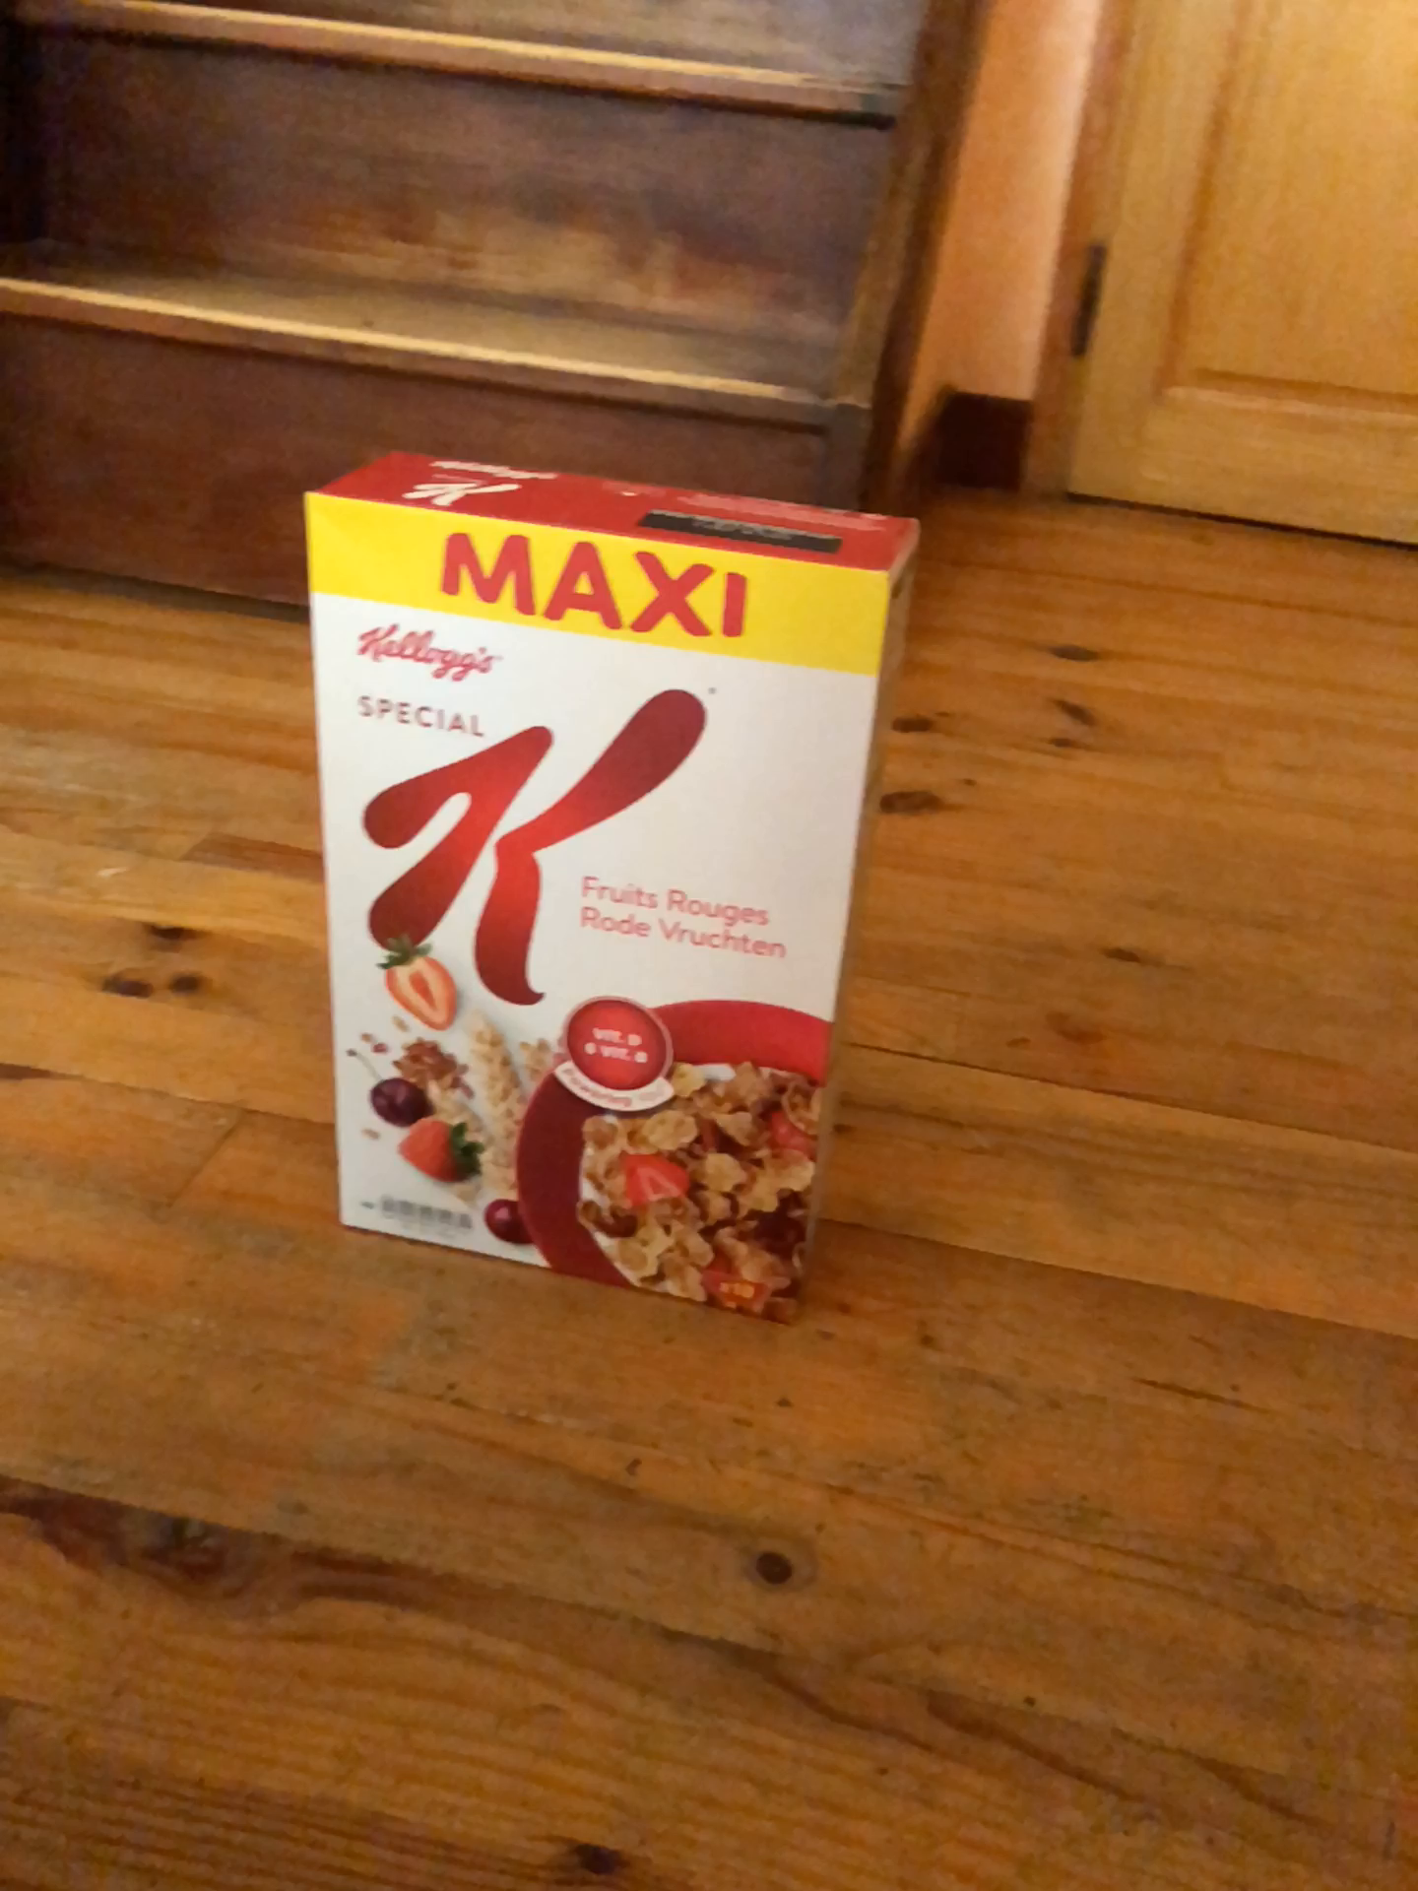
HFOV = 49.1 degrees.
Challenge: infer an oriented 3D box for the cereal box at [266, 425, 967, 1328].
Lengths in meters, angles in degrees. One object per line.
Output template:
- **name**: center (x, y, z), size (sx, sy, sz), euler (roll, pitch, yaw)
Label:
- **cereal box**: center (-0.036, -0.021, 0.572), size (0.210, 0.288, 0.091), euler (10, 29, 9)
